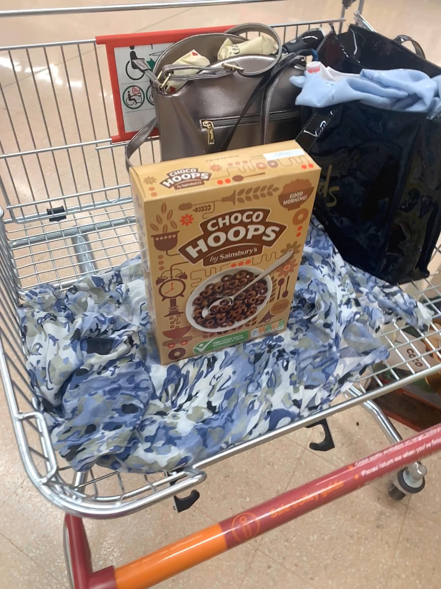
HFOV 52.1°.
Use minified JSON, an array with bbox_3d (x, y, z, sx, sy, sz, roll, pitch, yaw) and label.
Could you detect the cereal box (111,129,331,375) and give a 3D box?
[{"bbox_3d":[-0.006,-0.041,0.578,0.220,0.297,0.071,-14,48,-17],"label":"cereal box"}]
